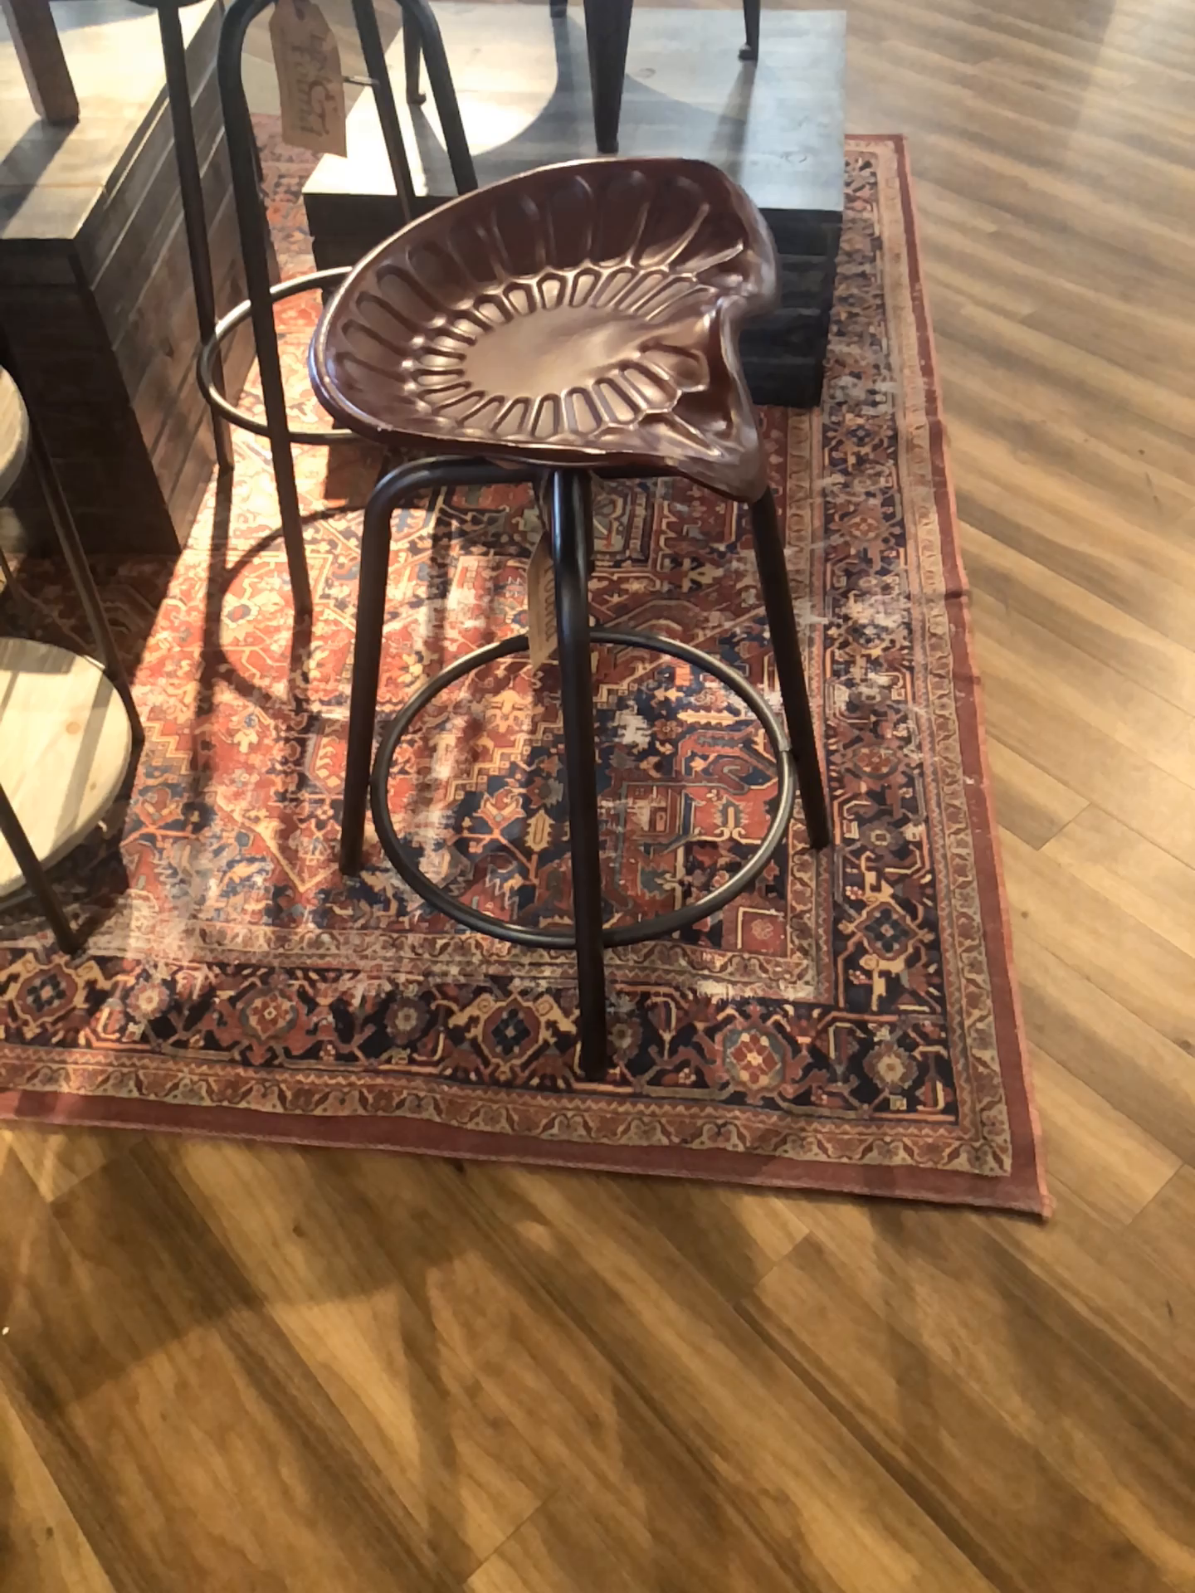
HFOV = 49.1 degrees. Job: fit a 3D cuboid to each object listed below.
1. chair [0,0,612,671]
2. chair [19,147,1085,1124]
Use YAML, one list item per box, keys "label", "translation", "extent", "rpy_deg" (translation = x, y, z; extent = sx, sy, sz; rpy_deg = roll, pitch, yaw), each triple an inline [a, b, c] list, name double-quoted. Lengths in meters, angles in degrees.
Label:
- label: "chair"
  translation: [-0.375, -0.702, 1.617]
  extent: [0.537, 0.737, 0.611]
  rpy_deg: [-25, 53, -19]
- label: "chair"
  translation: [-0.029, -0.128, 1.171]
  extent: [0.610, 0.627, 0.569]
  rpy_deg: [-2, 48, -1]
